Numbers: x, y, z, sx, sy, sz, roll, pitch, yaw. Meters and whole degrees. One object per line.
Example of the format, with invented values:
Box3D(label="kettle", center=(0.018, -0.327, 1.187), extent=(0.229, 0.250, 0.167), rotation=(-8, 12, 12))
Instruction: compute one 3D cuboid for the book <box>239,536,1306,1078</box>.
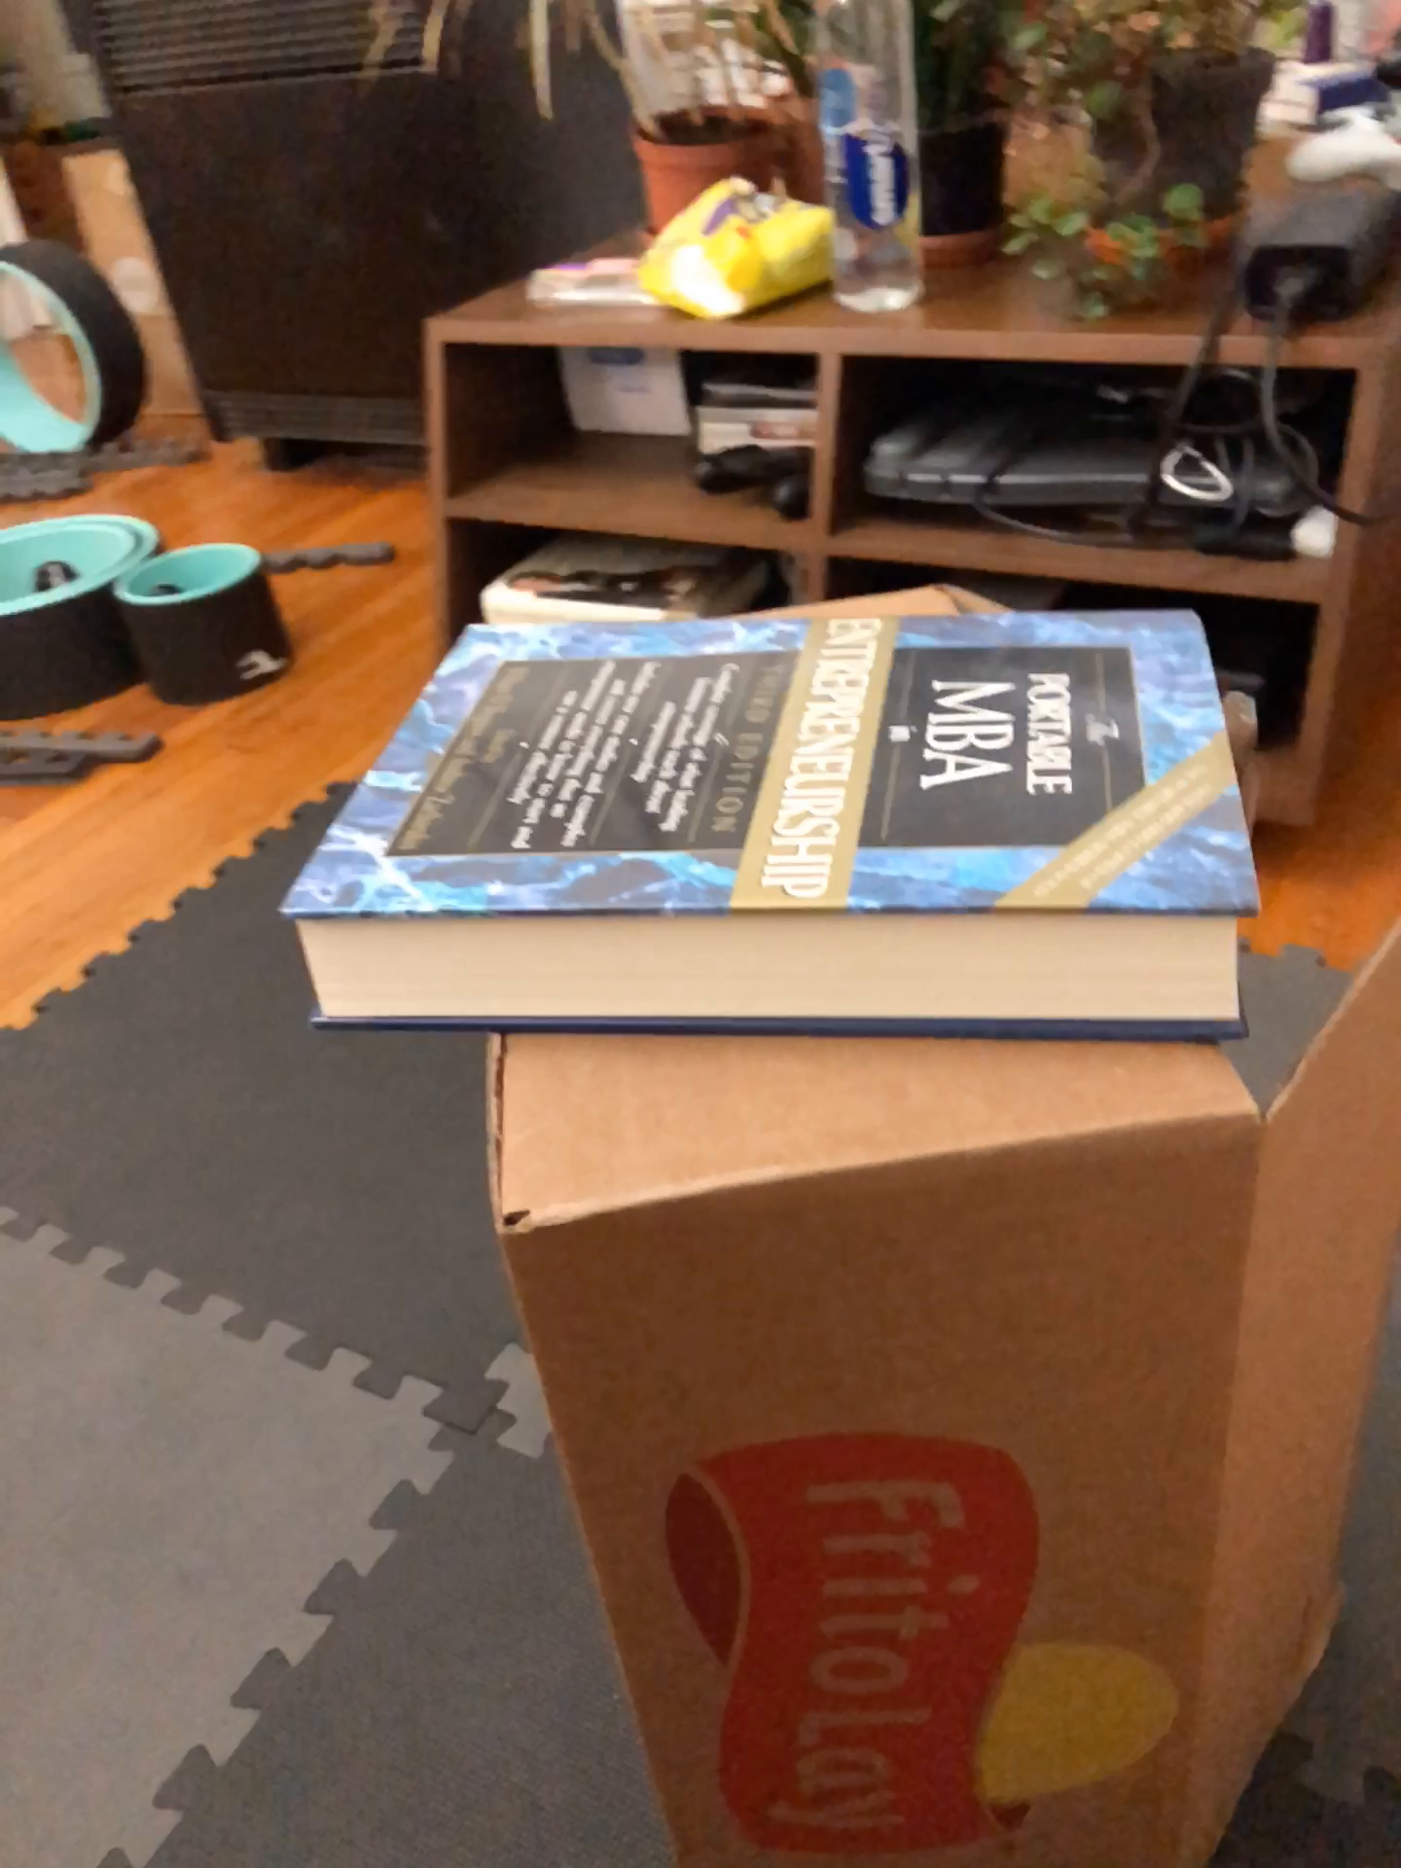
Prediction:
Box3D(label="book", center=(0.030, -0.046, 0.484), extent=(0.270, 0.060, 0.211), rotation=(-1, 34, 13))
